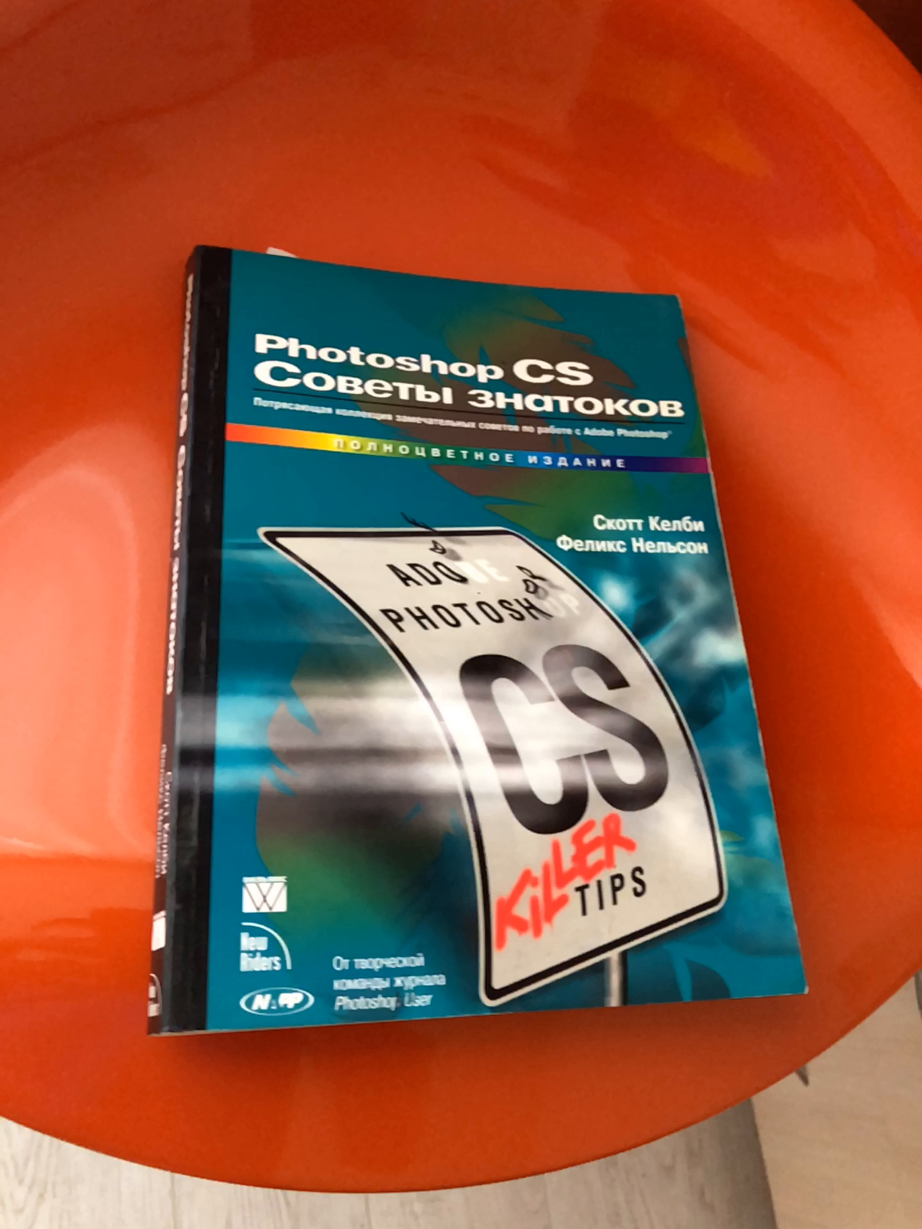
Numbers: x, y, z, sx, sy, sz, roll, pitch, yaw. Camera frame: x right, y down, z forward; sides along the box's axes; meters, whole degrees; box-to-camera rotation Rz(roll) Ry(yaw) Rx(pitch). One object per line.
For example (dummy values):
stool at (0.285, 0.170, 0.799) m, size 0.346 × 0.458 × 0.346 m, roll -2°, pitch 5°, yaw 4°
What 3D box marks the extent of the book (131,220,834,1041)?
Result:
book at (0.000, -0.007, 0.305) m, size 0.174 × 0.030 × 0.236 m, roll 2°, pitch 65°, yaw -14°
